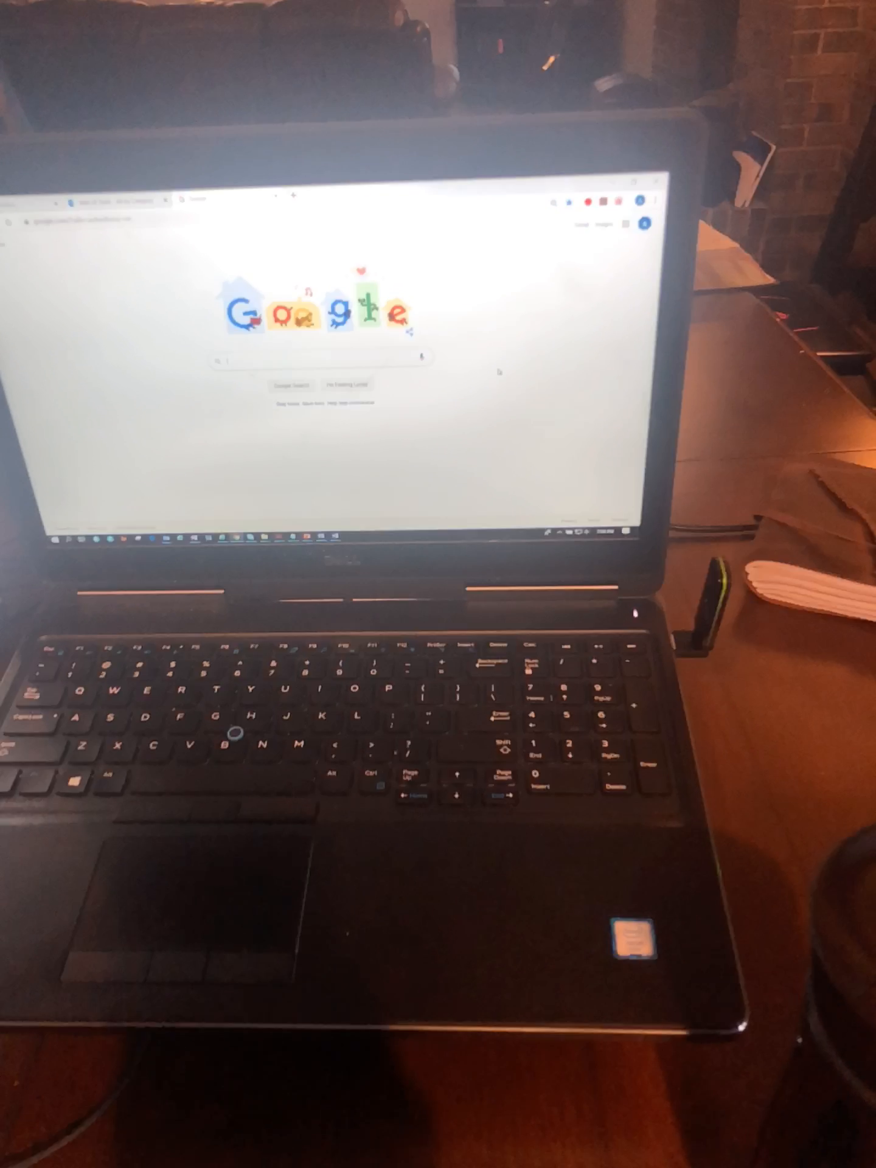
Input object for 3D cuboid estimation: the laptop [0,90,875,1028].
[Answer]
[{"bbox_3d":[-0.063,-0.029,0.422,0.367,0.258,0.287,0,37,3],"label":"laptop"}]
